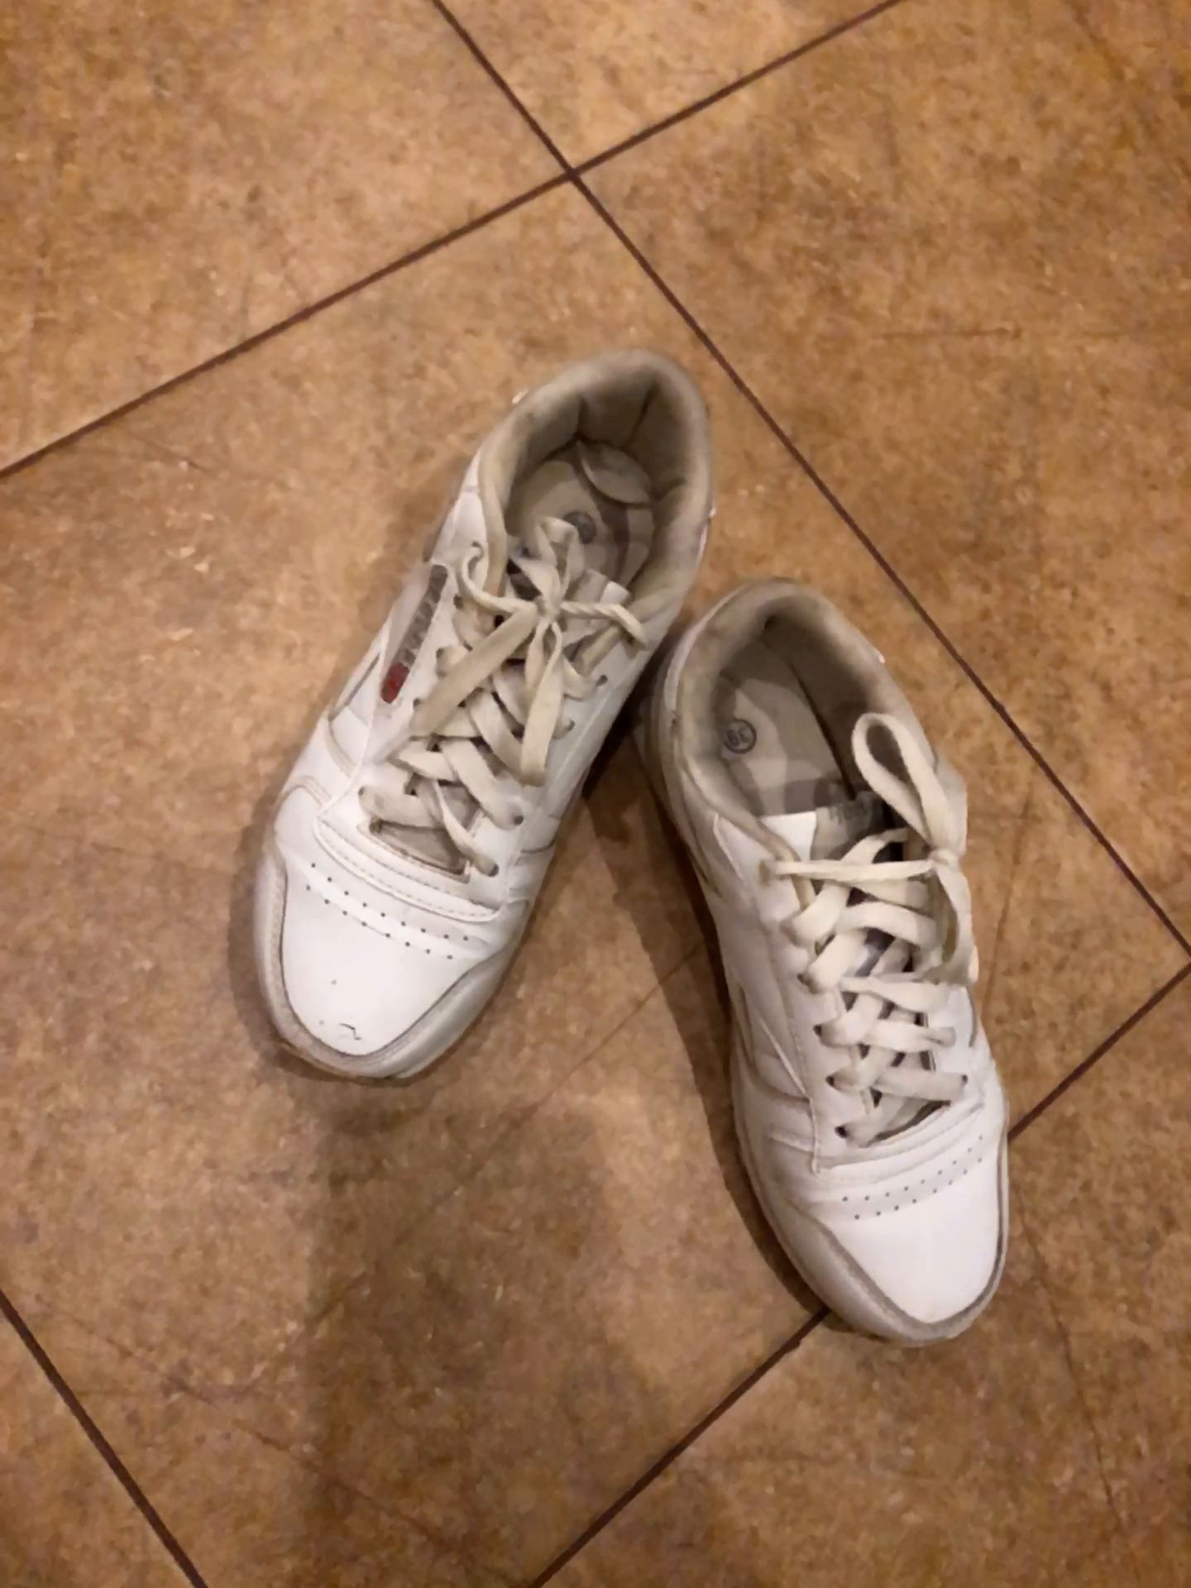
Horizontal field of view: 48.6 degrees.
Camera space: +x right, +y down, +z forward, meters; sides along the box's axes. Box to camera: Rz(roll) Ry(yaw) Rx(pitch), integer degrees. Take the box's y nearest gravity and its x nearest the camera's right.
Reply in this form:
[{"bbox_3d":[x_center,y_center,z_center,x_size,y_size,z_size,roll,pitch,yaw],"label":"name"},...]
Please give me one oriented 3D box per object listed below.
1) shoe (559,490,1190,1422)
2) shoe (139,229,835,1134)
[{"bbox_3d":[0.087,0.046,0.432,0.110,0.100,0.250,-16,79,-15],"label":"shoe"},{"bbox_3d":[-0.030,-0.033,0.430,0.100,0.100,0.261,27,72,-4],"label":"shoe"}]
